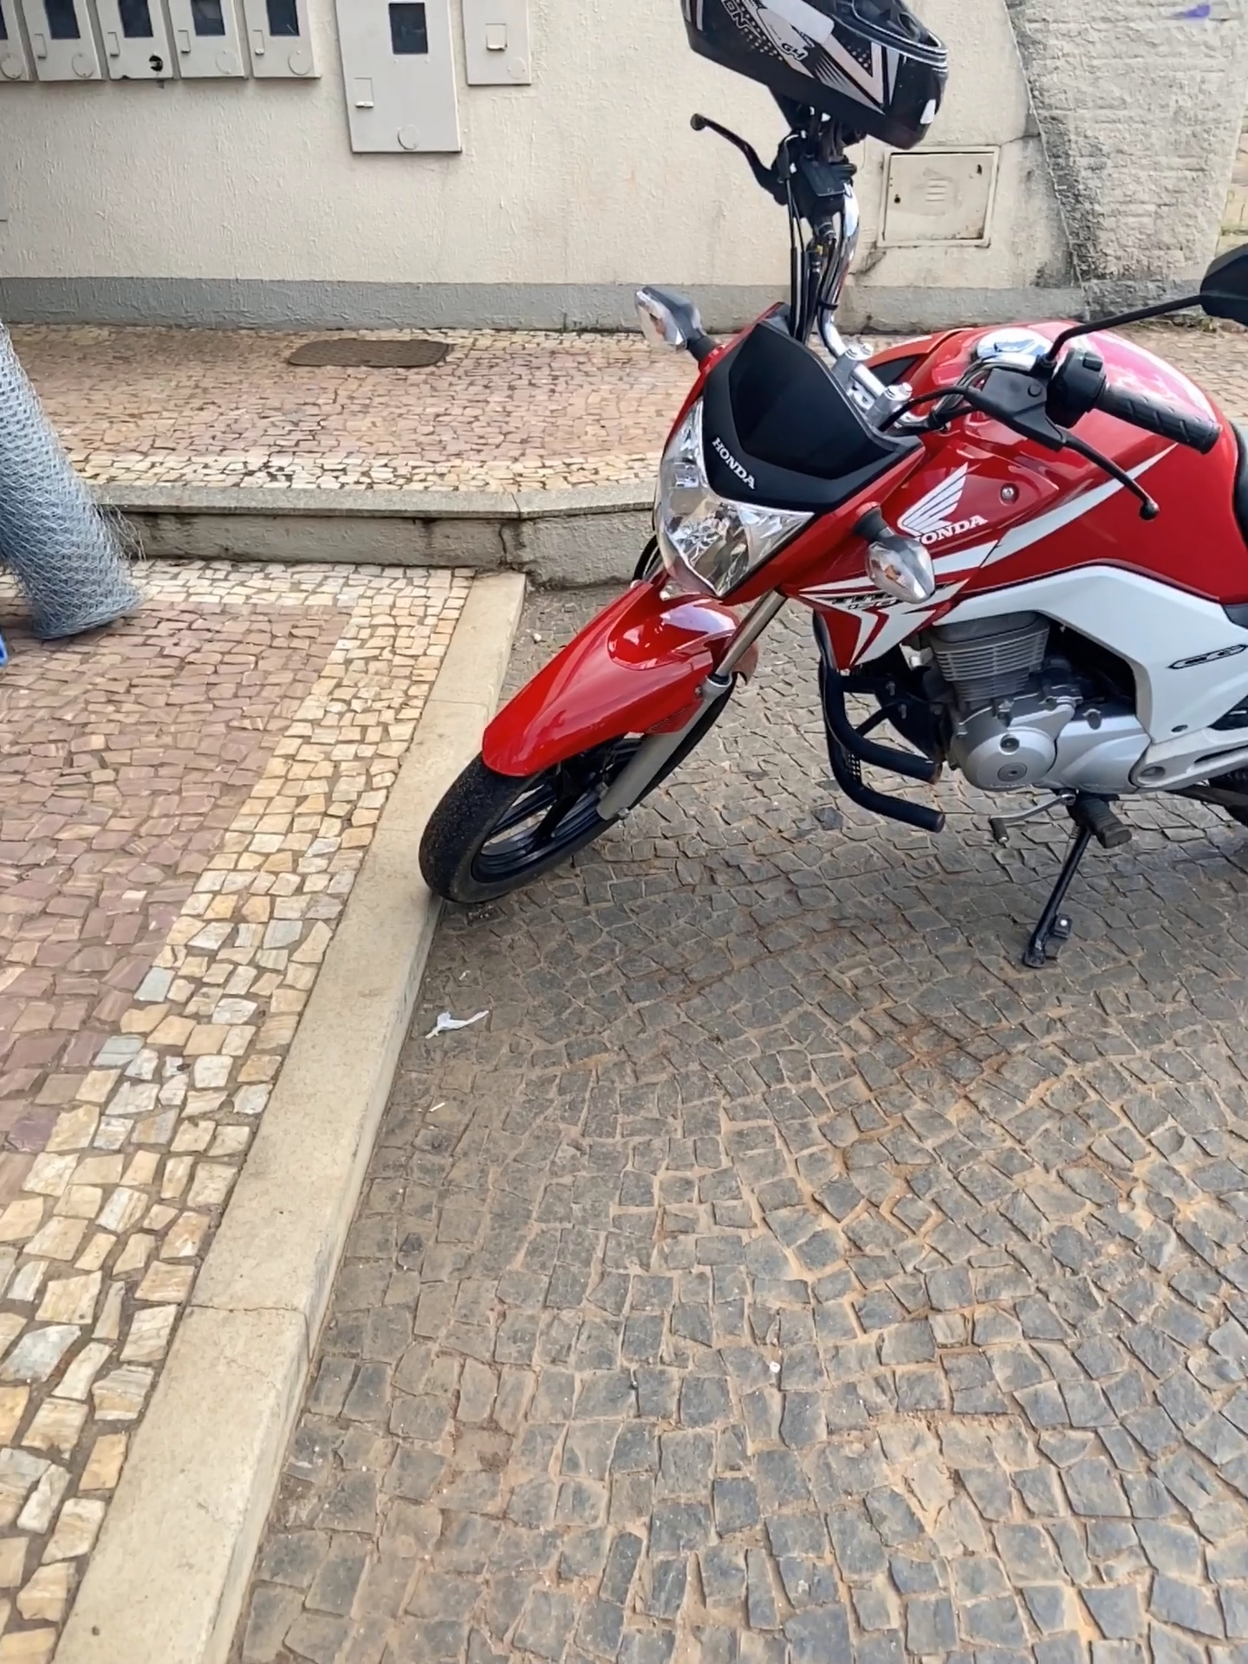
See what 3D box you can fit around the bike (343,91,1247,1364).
[{"bbox_3d":[0.752,-0.257,1.865,2.071,1.382,0.813,-9,32,-13],"label":"bike"}]
